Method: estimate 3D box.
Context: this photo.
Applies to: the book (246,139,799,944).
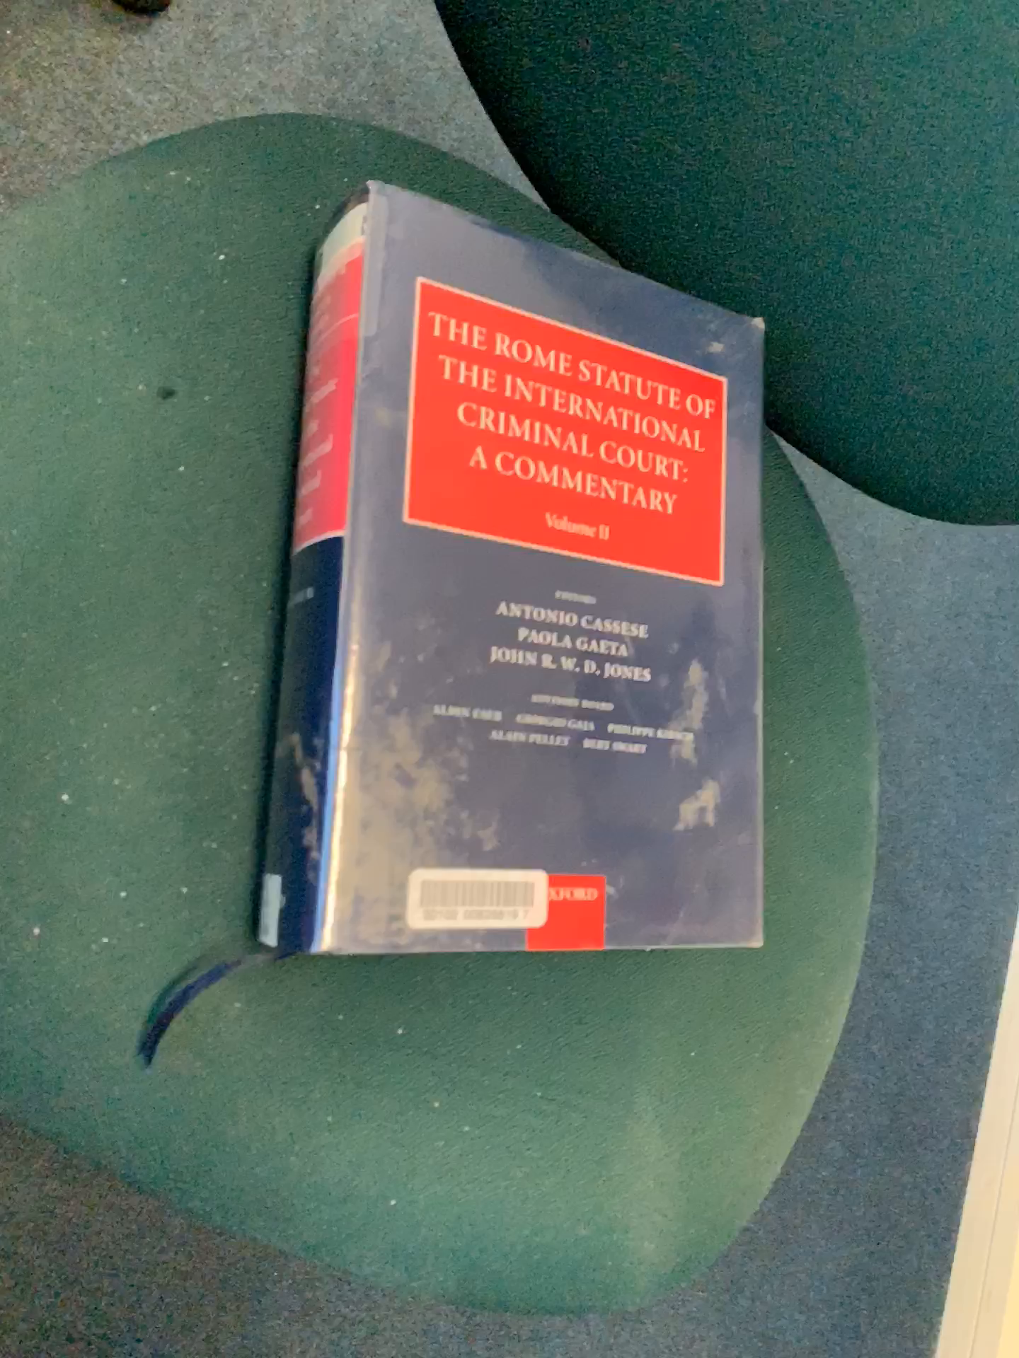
[{"bbox_3d":[0.014,-0.035,0.393,0.189,0.070,0.256,8,78,-30],"label":"book"}]
